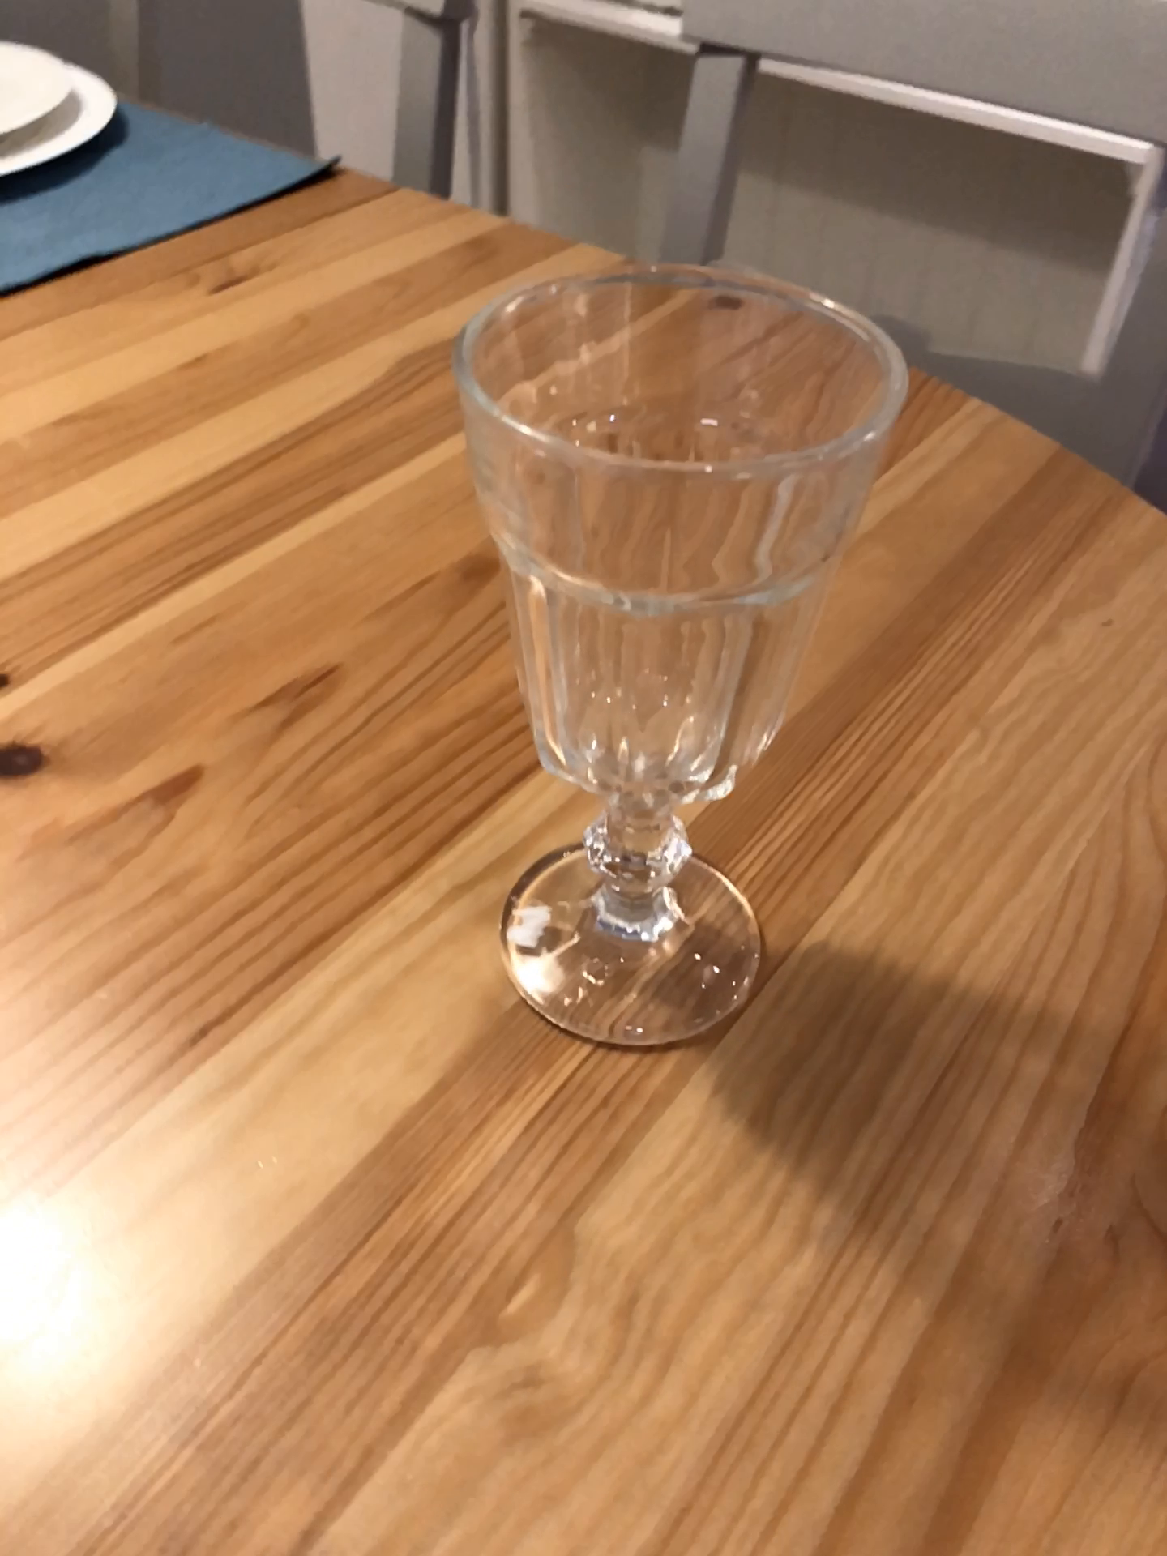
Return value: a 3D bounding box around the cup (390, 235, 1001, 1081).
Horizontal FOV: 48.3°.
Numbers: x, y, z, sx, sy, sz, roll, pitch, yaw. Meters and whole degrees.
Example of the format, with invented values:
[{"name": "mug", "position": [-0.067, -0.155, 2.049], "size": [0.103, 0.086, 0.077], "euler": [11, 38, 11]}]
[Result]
[{"name": "cup", "position": [0.011, -0.021, 0.259], "size": [0.080, 0.139, 0.080], "euler": [2, 42, -1]}]
